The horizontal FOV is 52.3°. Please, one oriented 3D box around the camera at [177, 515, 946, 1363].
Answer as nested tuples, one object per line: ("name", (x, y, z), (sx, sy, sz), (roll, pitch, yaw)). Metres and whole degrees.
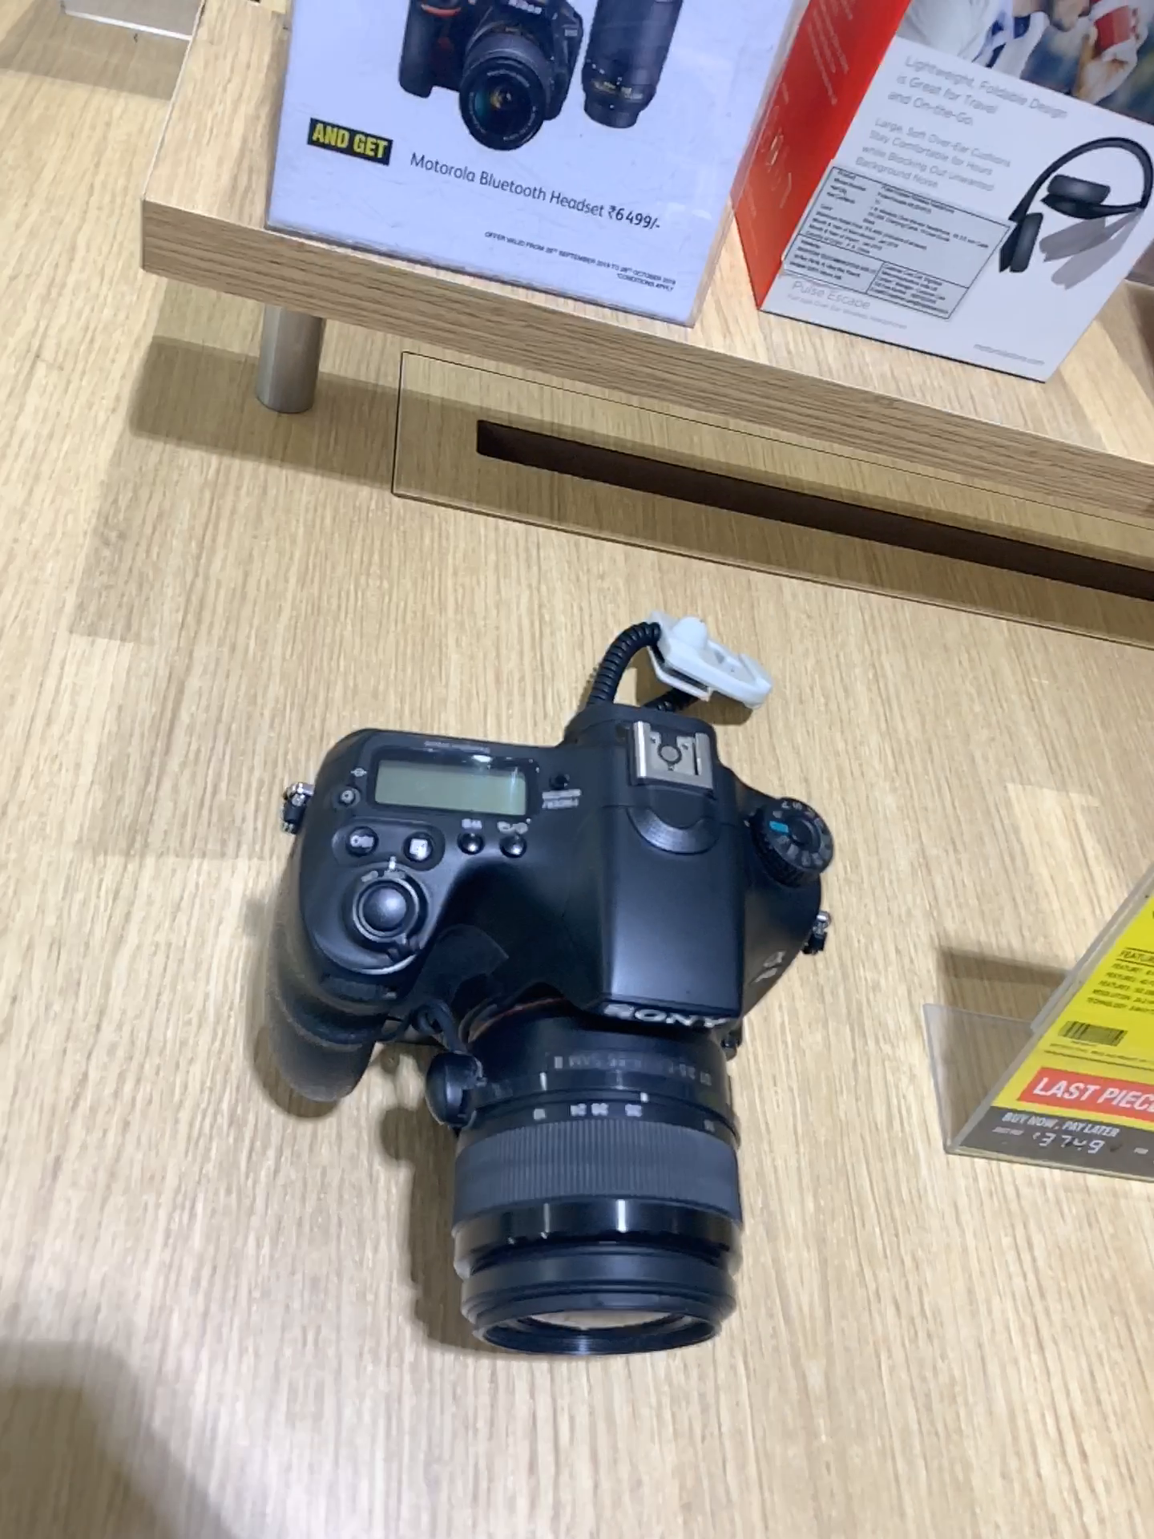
("camera", (-0.009, 0.043, 0.294), (0.140, 0.090, 0.170), (10, 53, -14))
